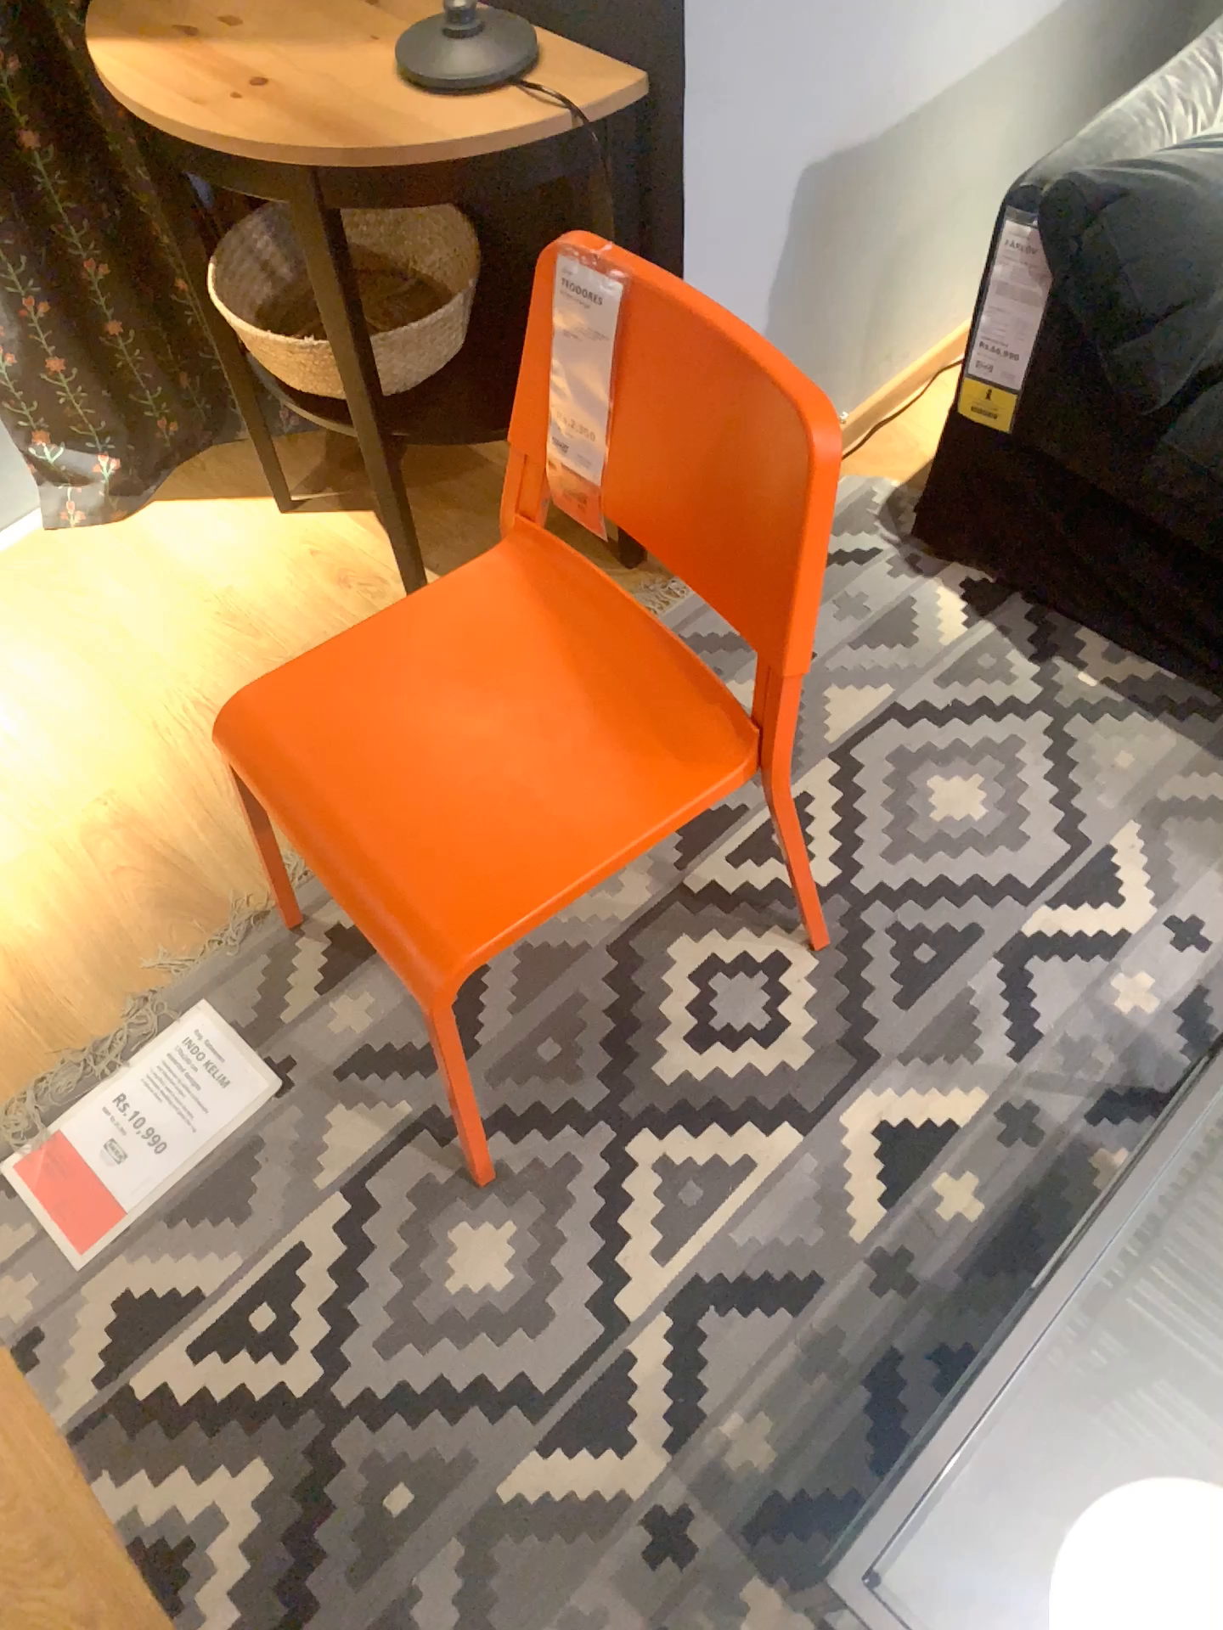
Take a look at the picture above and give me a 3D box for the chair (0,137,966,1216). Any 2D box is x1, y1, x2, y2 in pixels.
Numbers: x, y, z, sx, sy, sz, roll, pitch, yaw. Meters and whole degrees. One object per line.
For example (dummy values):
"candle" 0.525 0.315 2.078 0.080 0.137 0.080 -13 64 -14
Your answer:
"chair" -0.105 -0.091 1.202 0.540 0.738 0.511 -35 61 -19
